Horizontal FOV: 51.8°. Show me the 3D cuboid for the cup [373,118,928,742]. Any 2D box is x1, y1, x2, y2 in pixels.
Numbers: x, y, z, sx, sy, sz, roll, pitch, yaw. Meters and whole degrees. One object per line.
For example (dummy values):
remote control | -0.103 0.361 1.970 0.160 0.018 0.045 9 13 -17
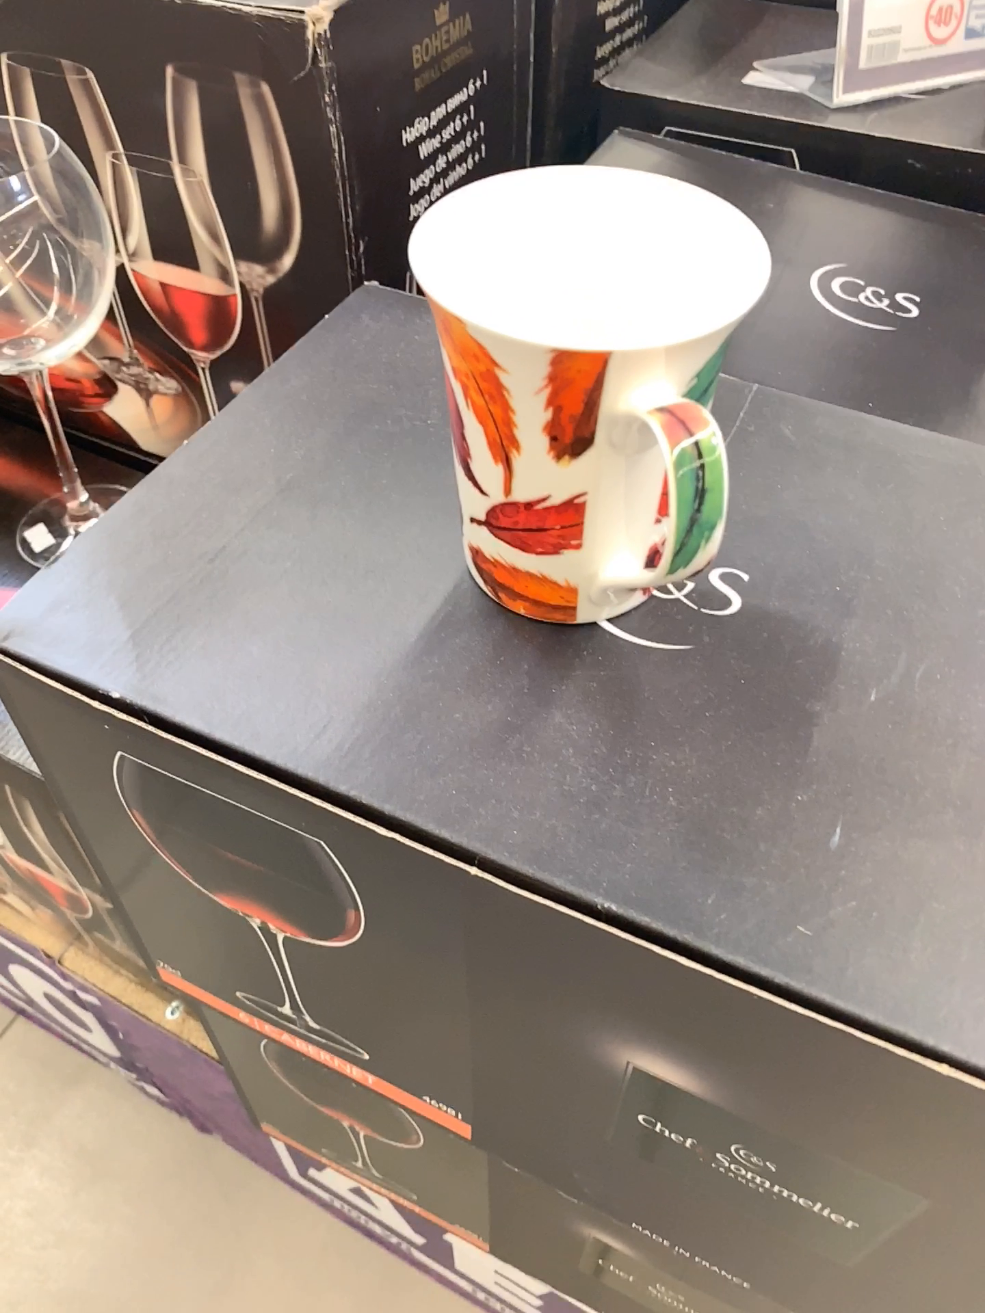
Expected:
cup | 0.027 -0.063 0.270 0.090 0.100 0.120 -11 49 -10
